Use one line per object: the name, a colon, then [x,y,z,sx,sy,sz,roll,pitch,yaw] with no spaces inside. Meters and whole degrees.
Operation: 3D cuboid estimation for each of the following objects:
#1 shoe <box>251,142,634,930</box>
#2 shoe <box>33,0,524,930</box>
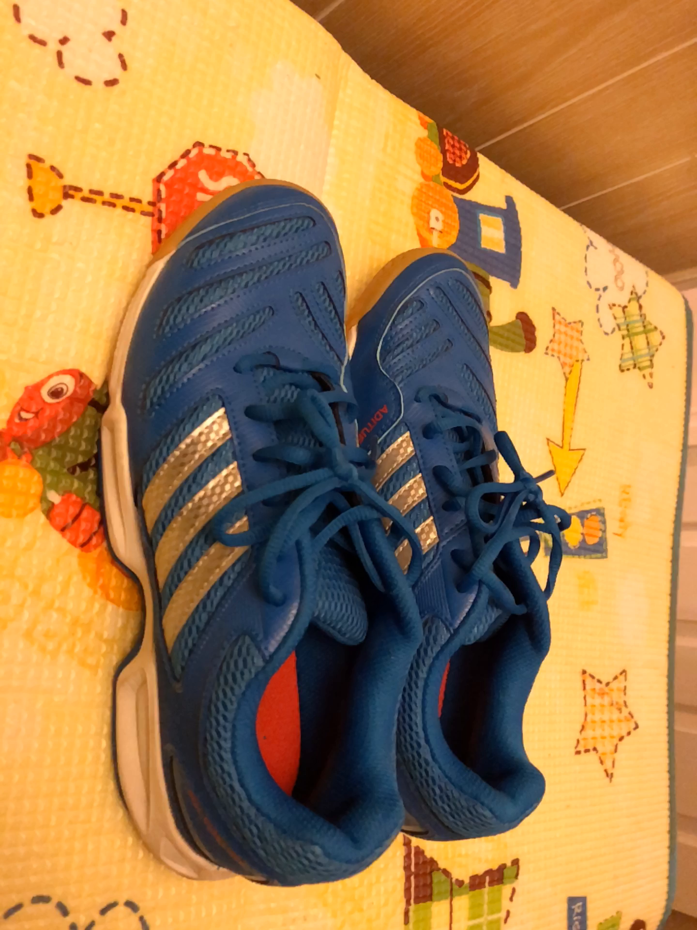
shoe: [0.047,0.029,0.359,0.110,0.120,0.290,11,79,-39]
shoe: [-0.027,0.008,0.300,0.110,0.140,0.290,10,80,-39]
